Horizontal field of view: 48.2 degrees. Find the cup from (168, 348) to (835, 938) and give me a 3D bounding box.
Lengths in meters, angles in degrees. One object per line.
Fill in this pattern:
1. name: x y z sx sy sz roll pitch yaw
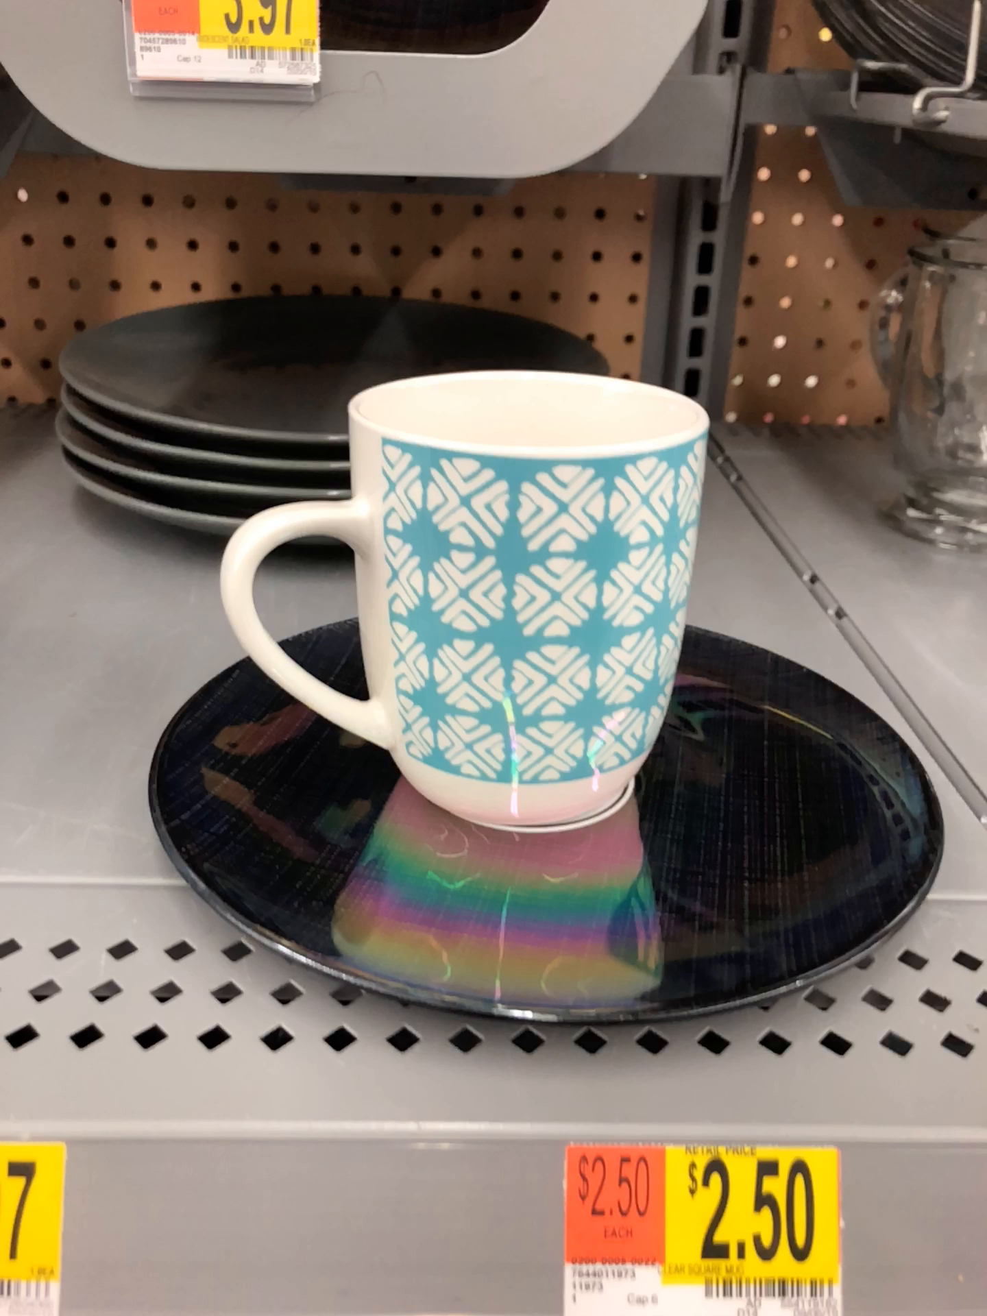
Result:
1. cup: -0.004 -0.014 0.266 0.122 0.098 0.090 -9 28 -22
